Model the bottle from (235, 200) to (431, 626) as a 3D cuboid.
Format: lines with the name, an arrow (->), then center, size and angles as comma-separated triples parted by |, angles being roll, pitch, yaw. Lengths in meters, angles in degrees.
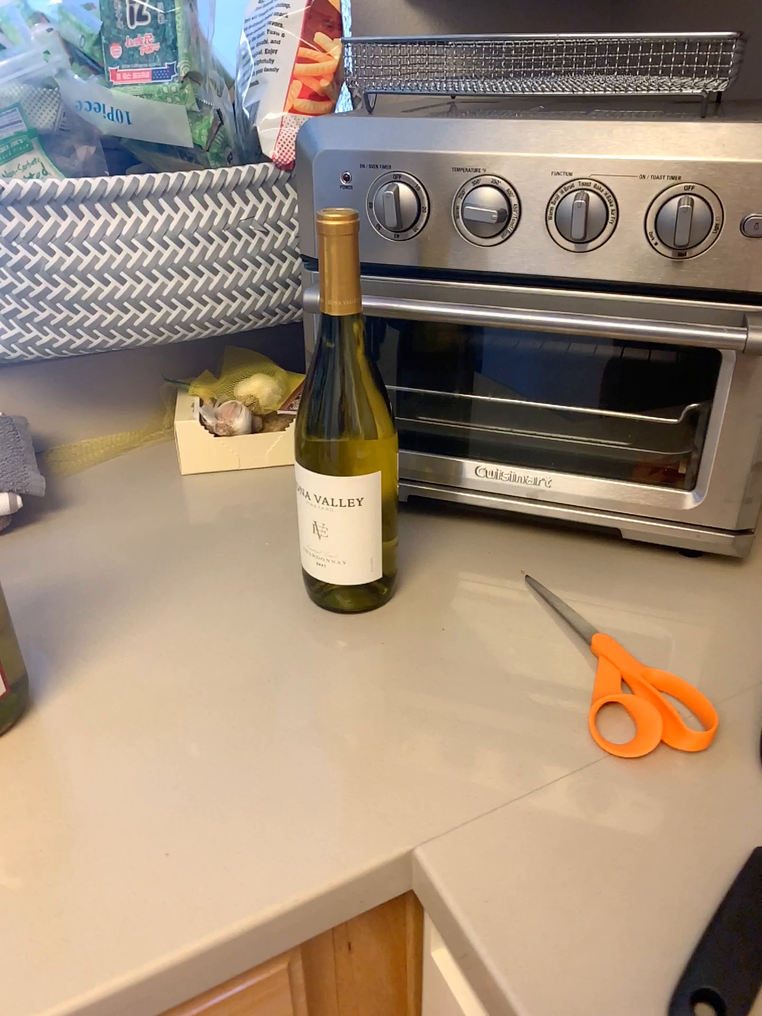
bottle -> -0.027, -0.065, 0.563 | 0.090, 0.278, 0.091 | -1, 29, 0
